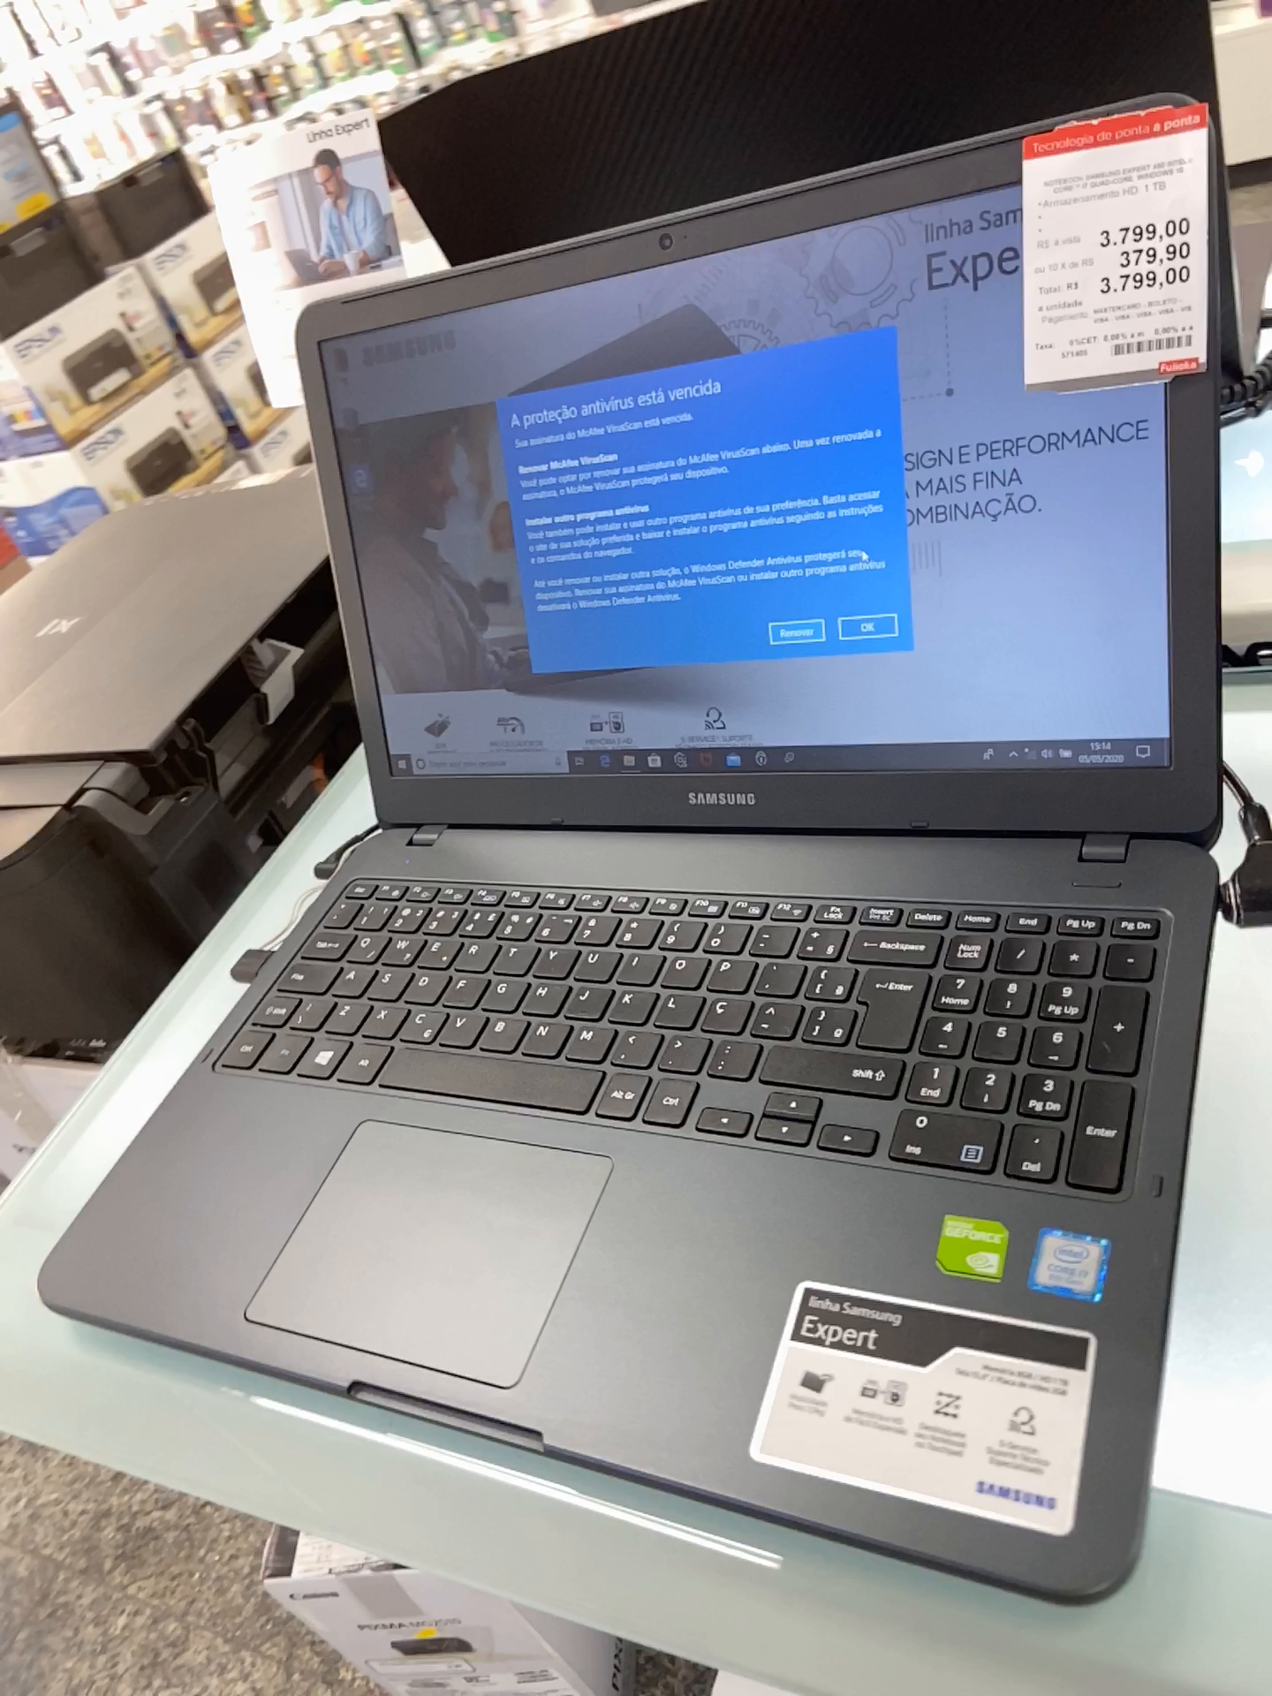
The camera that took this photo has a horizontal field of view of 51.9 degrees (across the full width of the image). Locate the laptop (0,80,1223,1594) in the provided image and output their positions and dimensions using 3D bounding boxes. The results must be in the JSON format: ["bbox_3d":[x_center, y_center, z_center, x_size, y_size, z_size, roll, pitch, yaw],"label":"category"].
[{"bbox_3d":[-0.024,-0.040,0.440,0.371,0.207,0.373,0,43,29],"label":"laptop"}]
